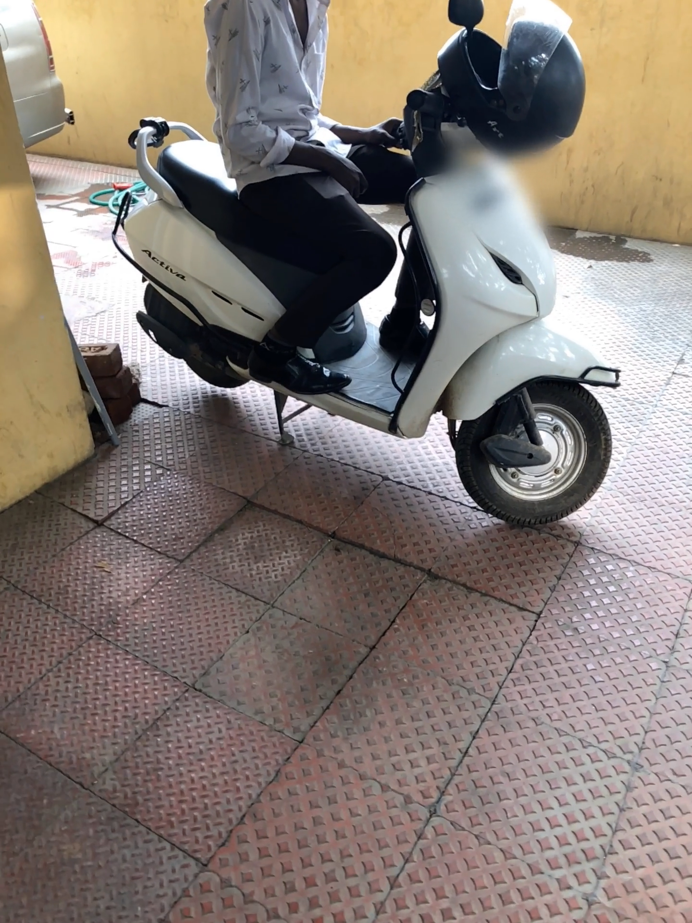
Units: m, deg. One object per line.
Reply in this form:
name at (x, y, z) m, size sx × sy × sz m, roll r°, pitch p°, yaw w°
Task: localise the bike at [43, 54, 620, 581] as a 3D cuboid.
bike at (-0.053, -0.517, 2.303) m, size 1.388 × 1.108 × 0.661 m, roll 20°, pitch 38°, yaw 26°
